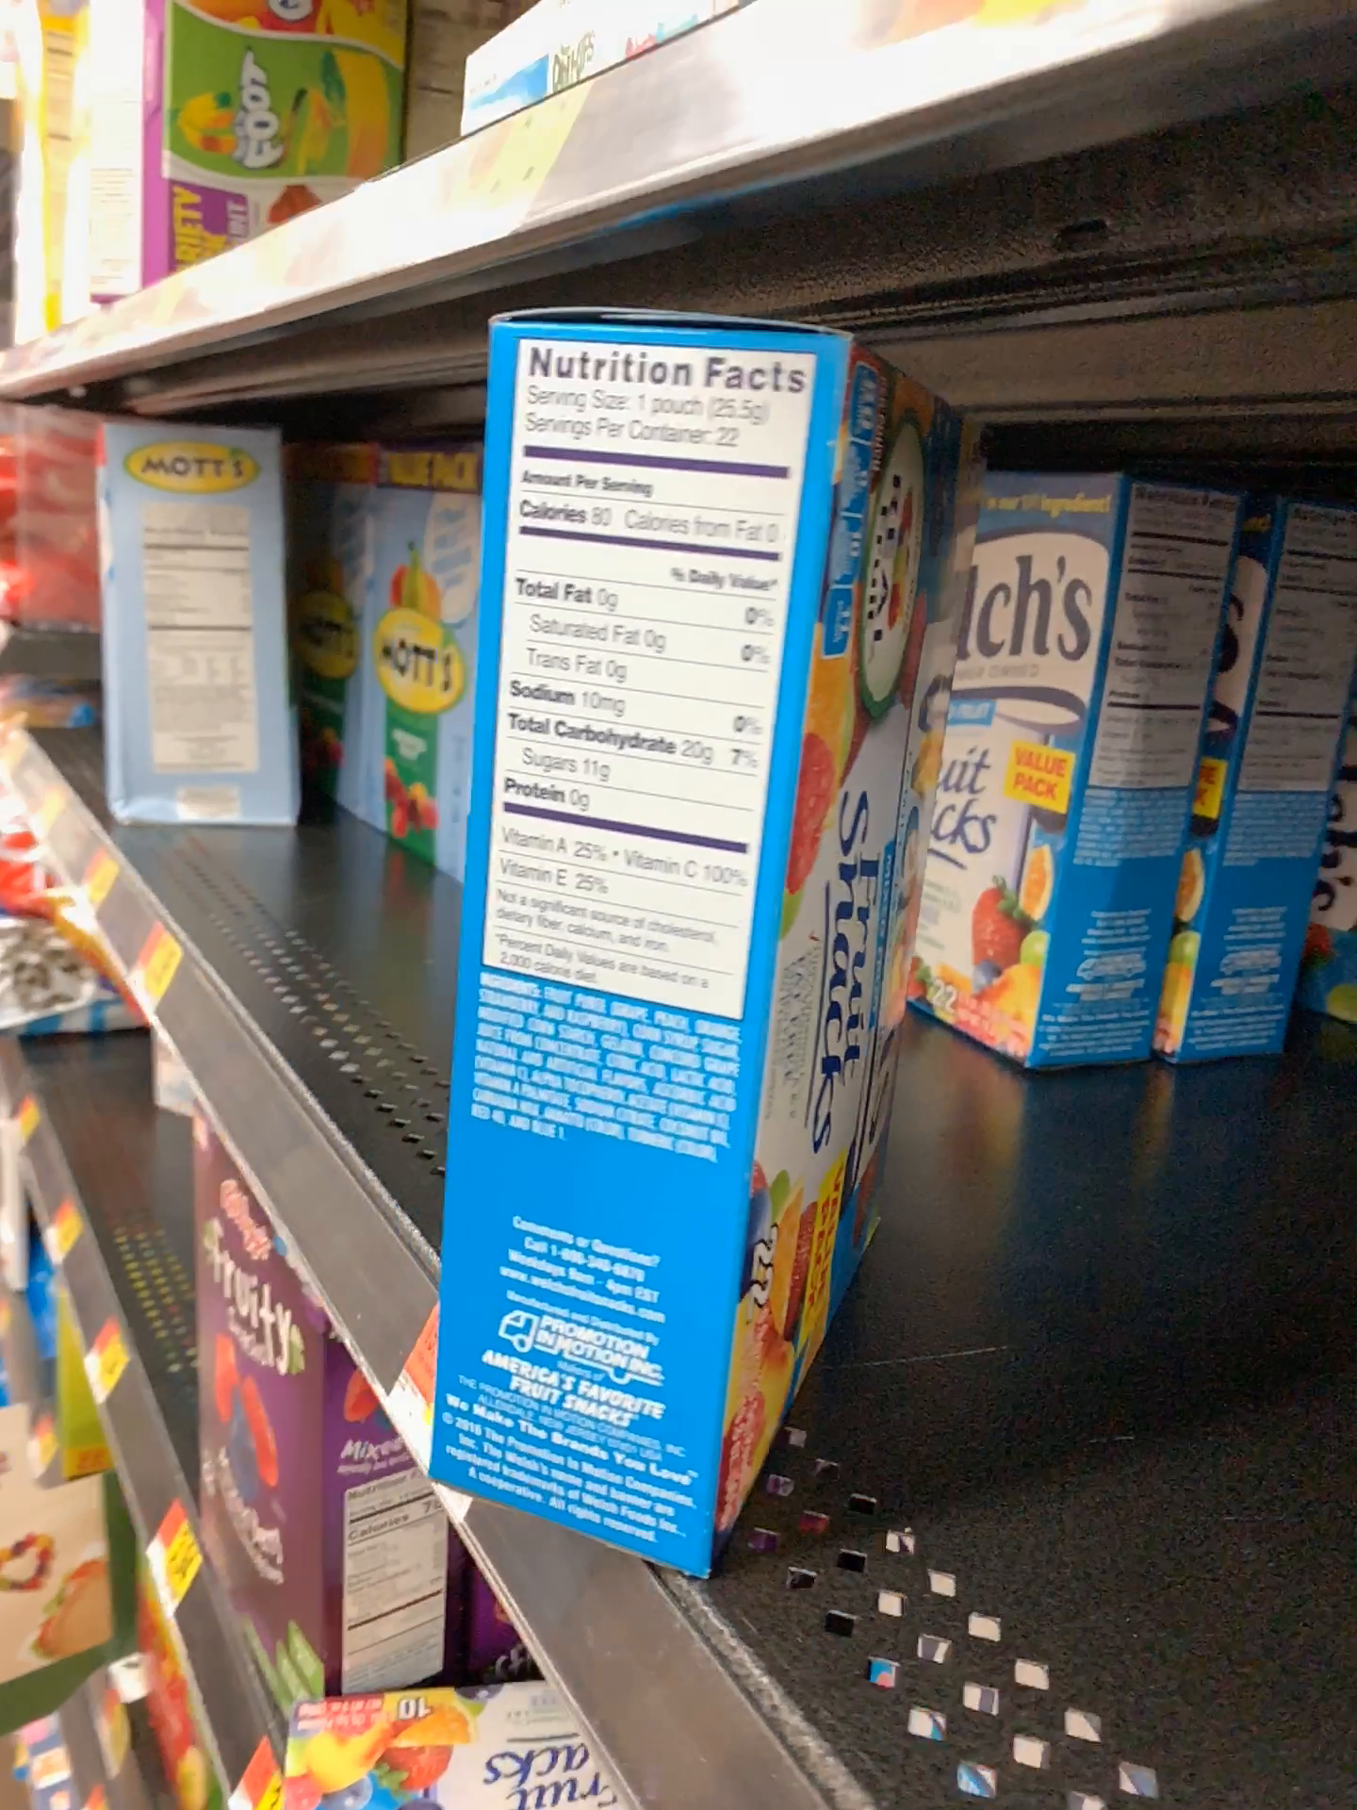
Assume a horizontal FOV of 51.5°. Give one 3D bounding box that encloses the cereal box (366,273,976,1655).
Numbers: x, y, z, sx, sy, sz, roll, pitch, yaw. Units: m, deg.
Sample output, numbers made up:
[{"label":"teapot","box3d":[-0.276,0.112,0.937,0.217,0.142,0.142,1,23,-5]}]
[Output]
[{"label":"cereal box","box3d":[0.008,0.001,0.313,0.060,0.229,0.170,10,15,18]}]
